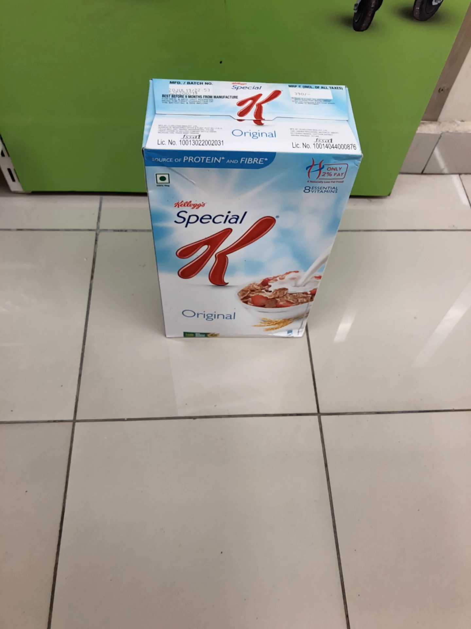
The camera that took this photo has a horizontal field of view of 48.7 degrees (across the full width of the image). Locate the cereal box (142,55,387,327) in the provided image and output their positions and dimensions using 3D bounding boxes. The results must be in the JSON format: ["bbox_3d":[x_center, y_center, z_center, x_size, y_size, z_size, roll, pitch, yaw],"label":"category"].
[{"bbox_3d":[0.013,-0.108,0.579,0.200,0.308,0.101,0,58,-5],"label":"cereal box"}]
